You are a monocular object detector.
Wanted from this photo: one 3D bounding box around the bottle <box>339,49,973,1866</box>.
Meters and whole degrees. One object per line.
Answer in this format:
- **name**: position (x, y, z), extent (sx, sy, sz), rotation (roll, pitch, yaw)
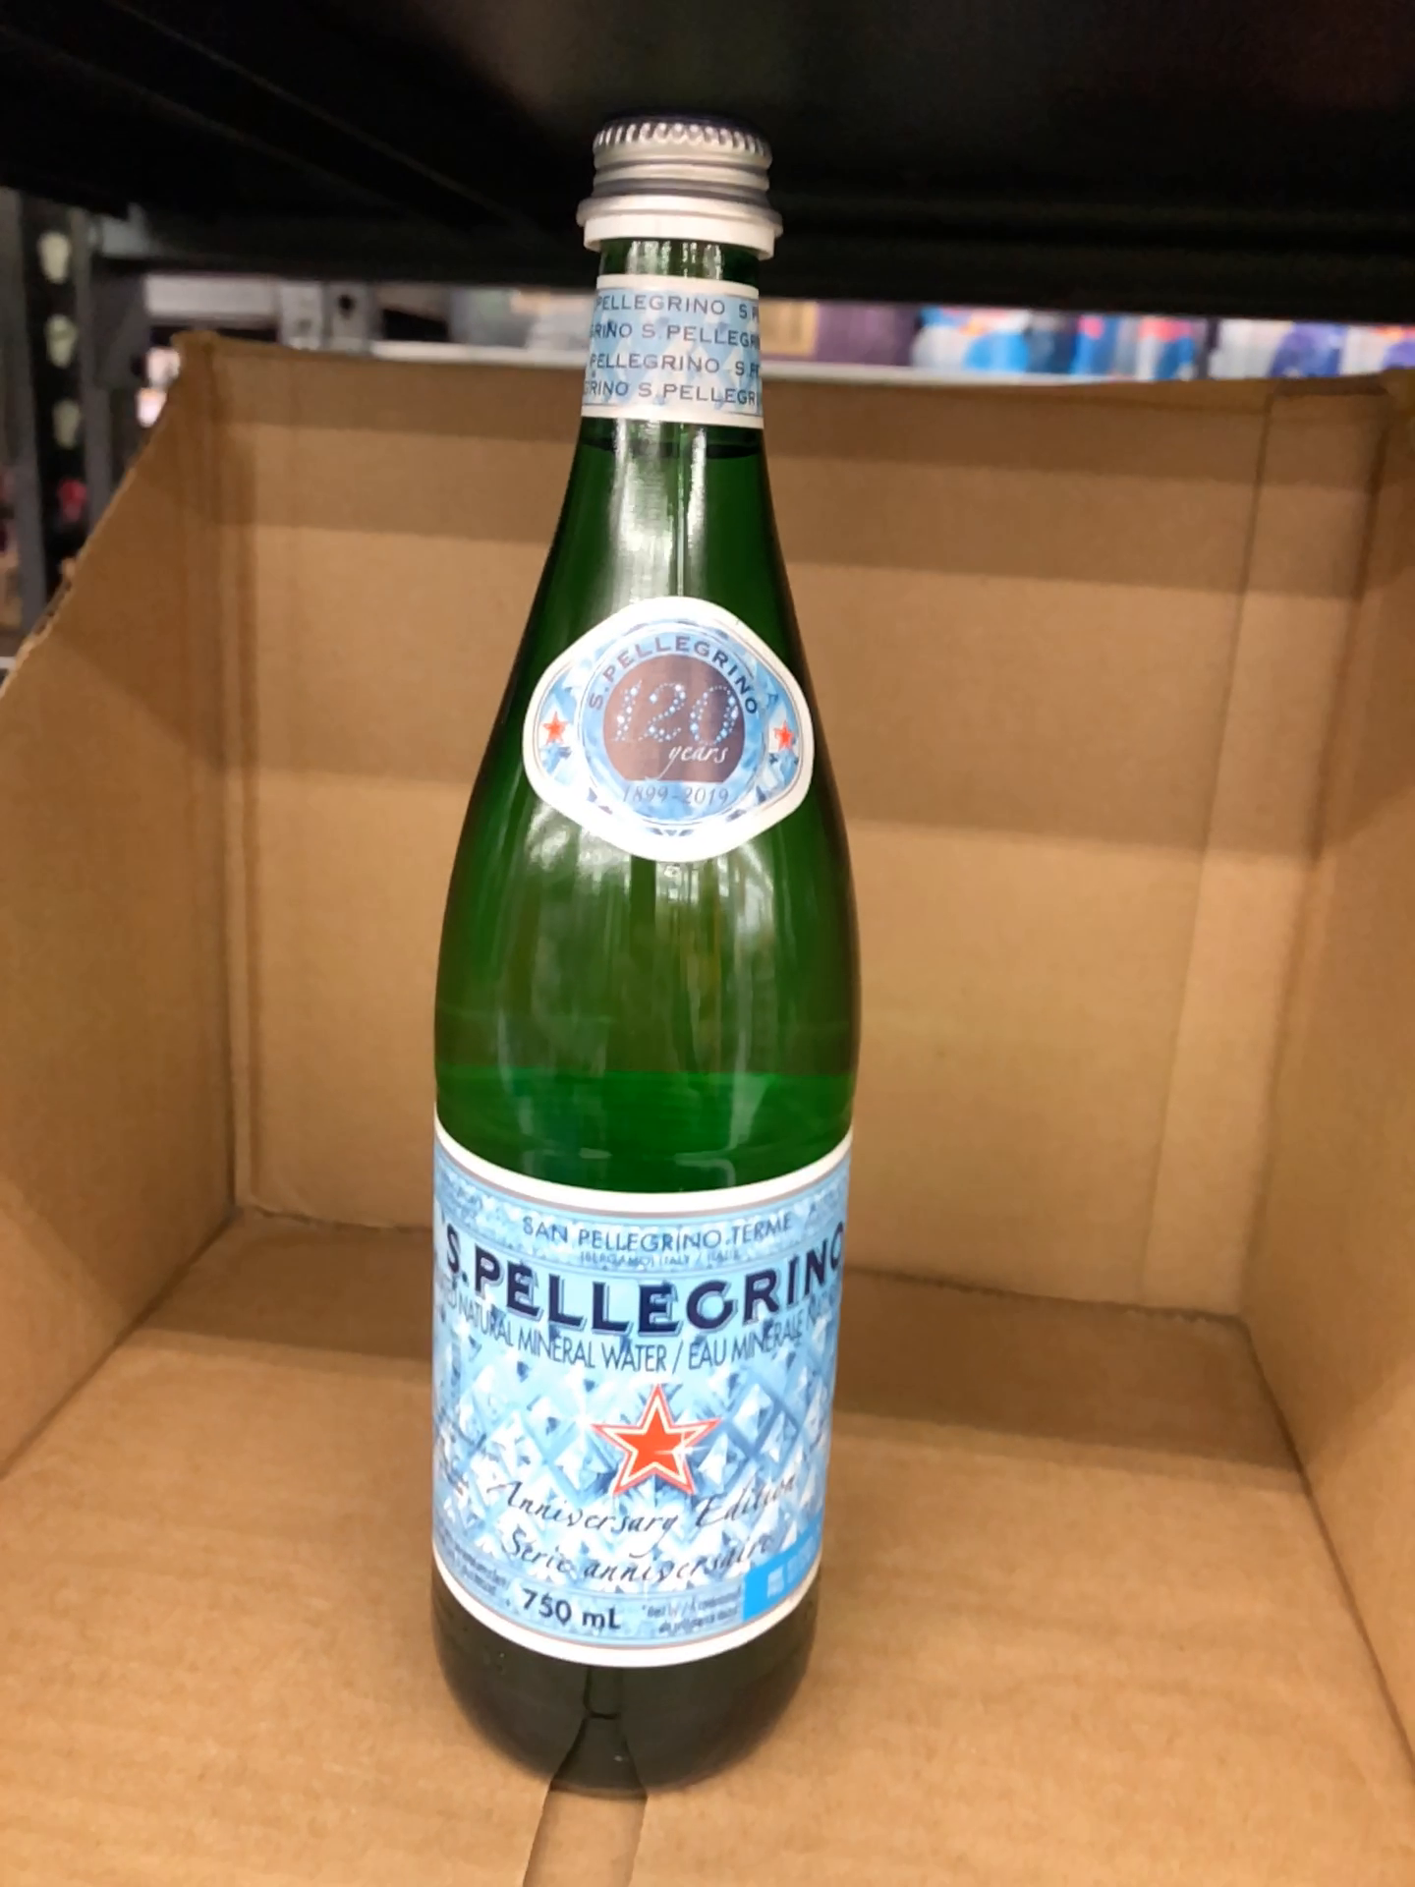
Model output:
- **bottle**: position (-0.010, 0.012, 0.270), extent (0.080, 0.278, 0.070), rotation (5, 17, 5)
